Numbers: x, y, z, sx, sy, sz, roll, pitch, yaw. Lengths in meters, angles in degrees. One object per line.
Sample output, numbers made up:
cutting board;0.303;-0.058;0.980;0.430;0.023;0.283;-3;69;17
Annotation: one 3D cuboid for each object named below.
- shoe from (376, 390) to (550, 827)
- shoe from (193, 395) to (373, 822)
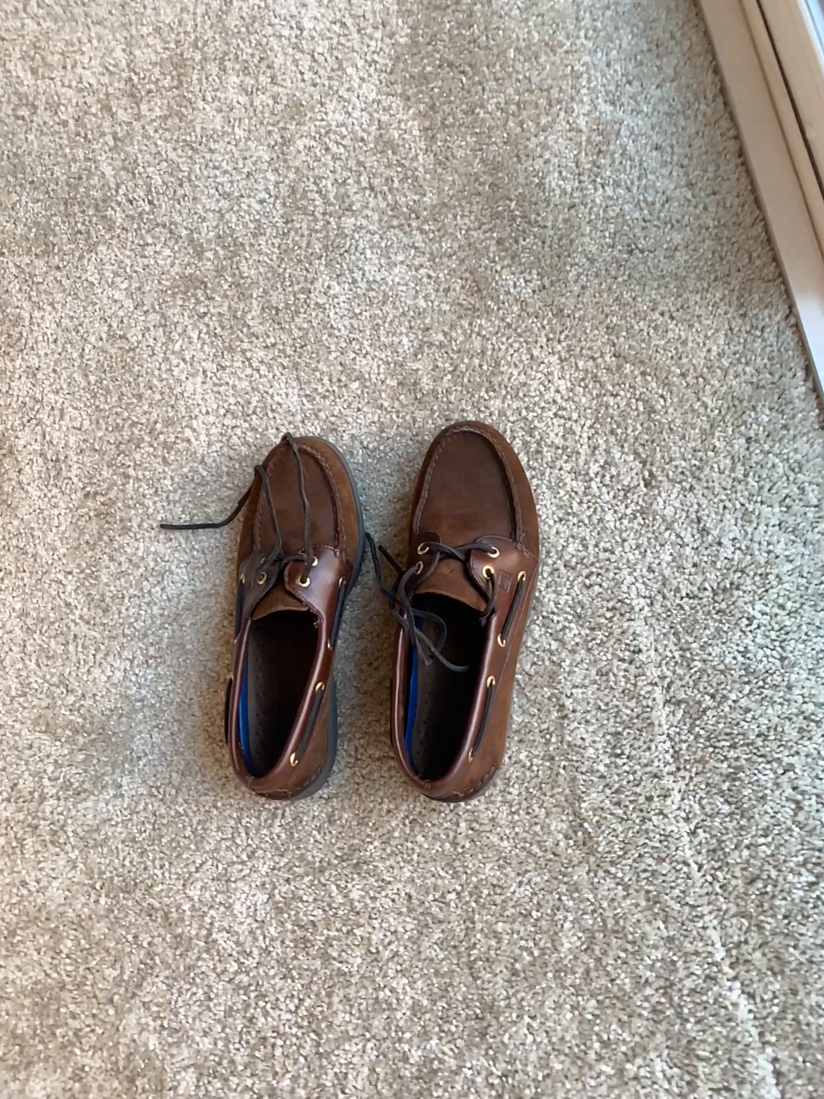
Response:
shoe;0.043;0.044;0.635;0.110;0.100;0.300;-2;78;13
shoe;-0.098;0.047;0.685;0.100;0.100;0.320;-2;78;13
